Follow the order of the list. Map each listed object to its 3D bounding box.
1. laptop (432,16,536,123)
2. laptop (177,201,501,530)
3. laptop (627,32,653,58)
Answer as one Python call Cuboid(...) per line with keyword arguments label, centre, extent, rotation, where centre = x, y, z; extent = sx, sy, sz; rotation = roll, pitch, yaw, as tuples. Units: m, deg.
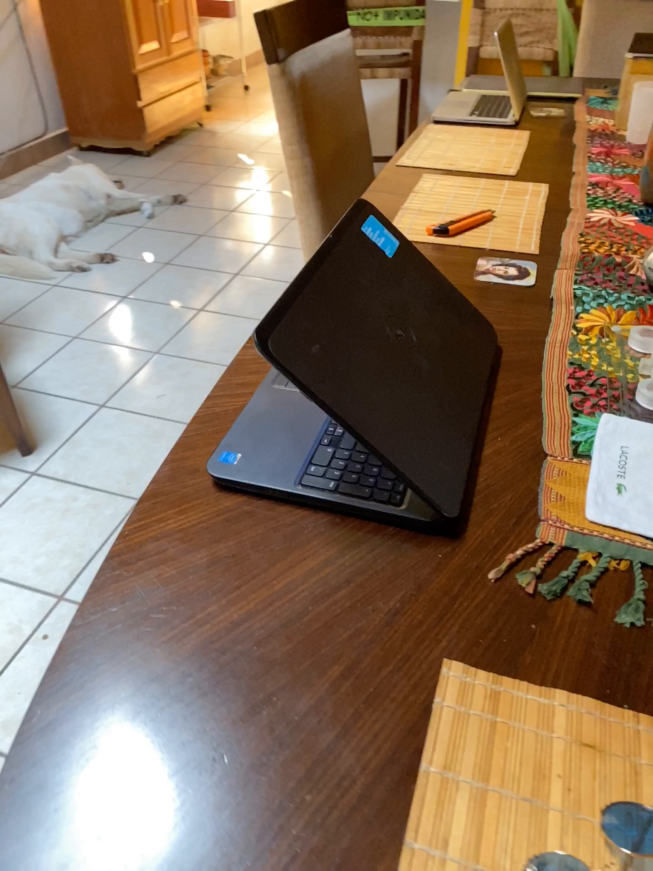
Cuboid(label="laptop", centre=(0.449, -1.040, 1.879), extent=(0.221, 0.207, 0.373), rotation=(9, 39, 13))
Cuboid(label="laptop", centre=(0.038, -0.106, 0.733), extent=(0.248, 0.158, 0.358), rotation=(11, 39, 14))
Cuboid(label="laptop", centre=(0.859, -0.973, 1.657), extent=(0.201, 0.001, 0.293), rotation=(14, 42, 15))
